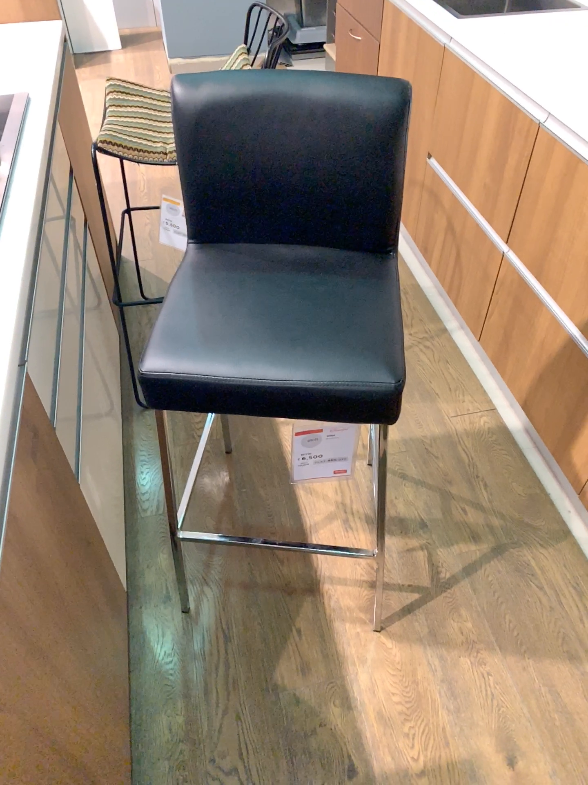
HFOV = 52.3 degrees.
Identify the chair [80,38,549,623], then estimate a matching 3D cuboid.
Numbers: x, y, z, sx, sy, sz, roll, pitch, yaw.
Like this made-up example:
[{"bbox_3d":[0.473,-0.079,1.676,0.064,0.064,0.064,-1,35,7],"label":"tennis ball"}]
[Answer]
[{"bbox_3d":[0.069,-0.039,1.183,0.500,1.026,0.522,5,48,8],"label":"chair"}]
